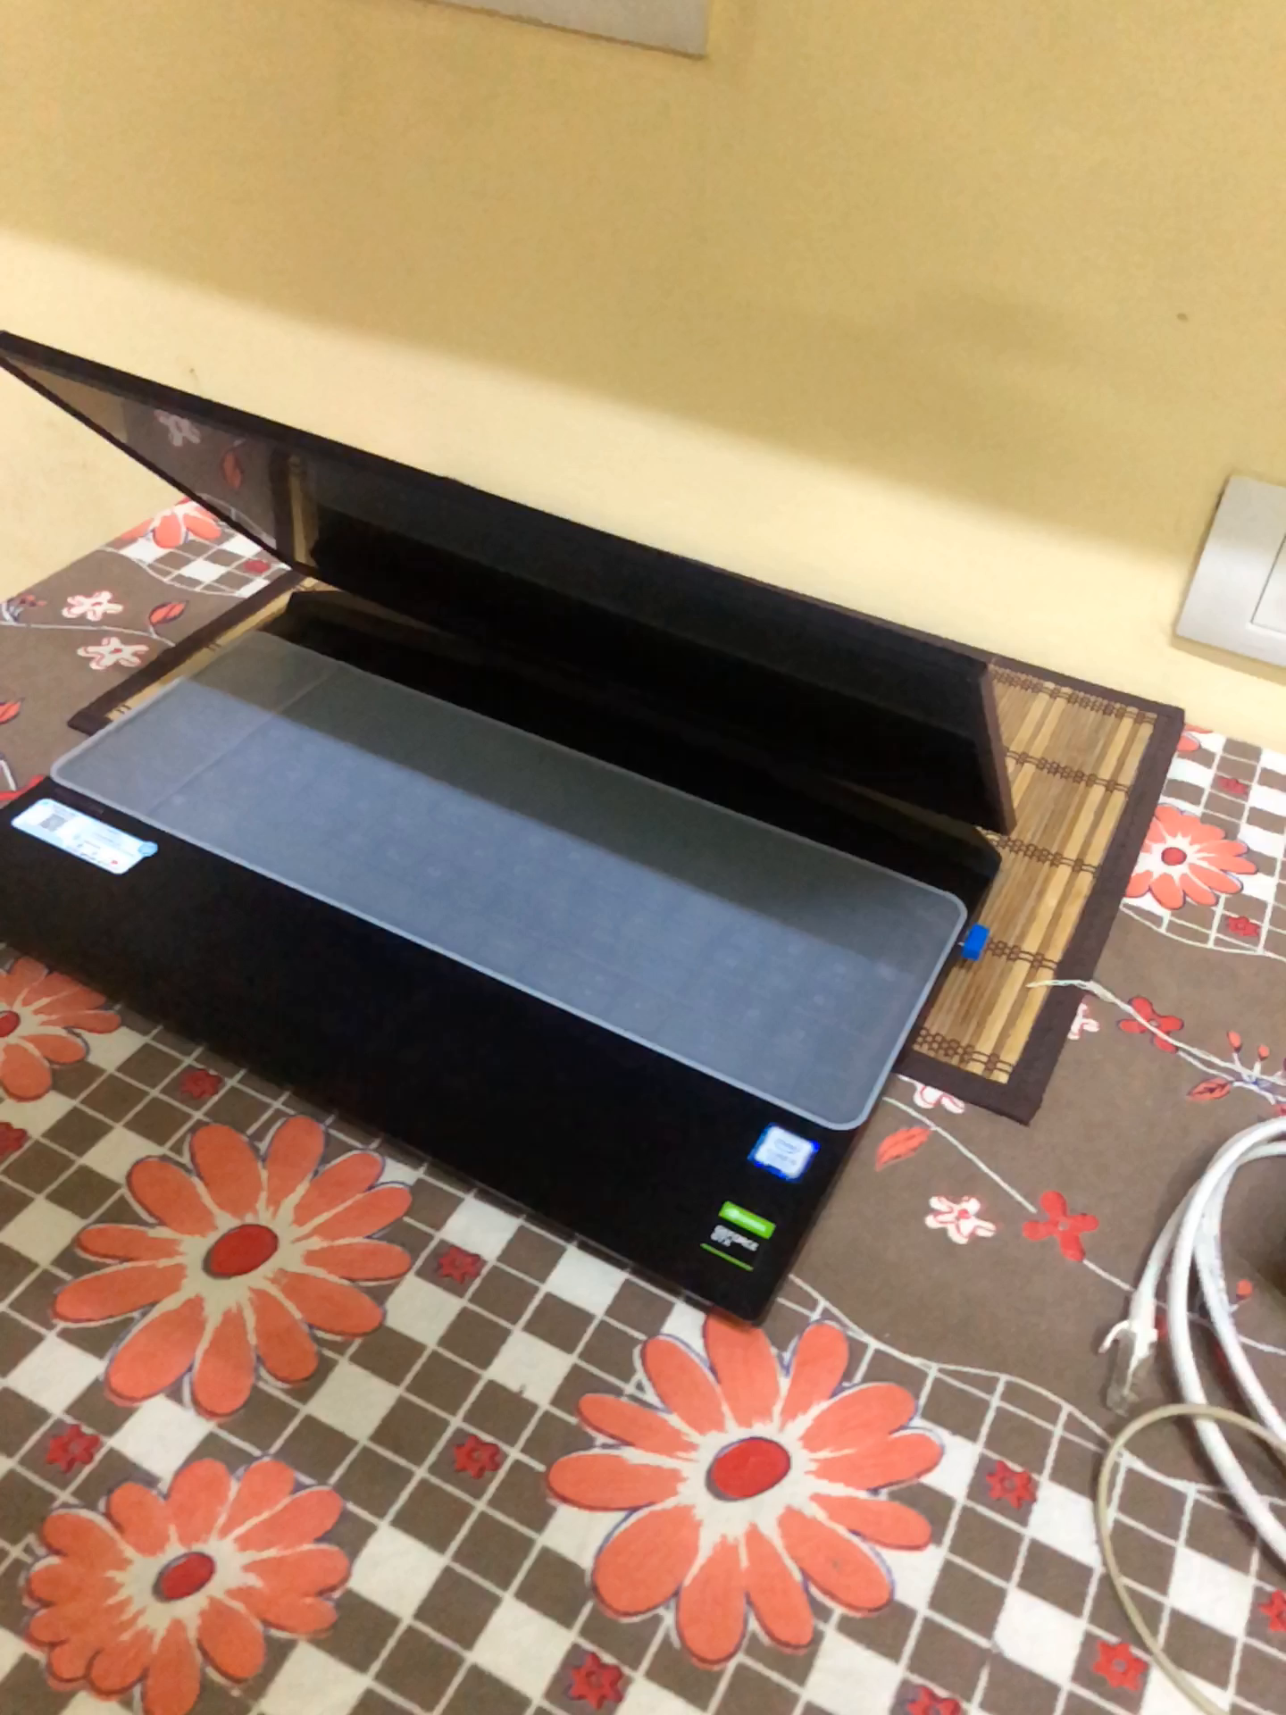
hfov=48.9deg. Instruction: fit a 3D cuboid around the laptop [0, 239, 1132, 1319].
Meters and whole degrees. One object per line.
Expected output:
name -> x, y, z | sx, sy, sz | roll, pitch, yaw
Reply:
laptop -> -0.057, -0.061, 0.505 | 0.356, 0.164, 0.238 | 22, 47, 21
